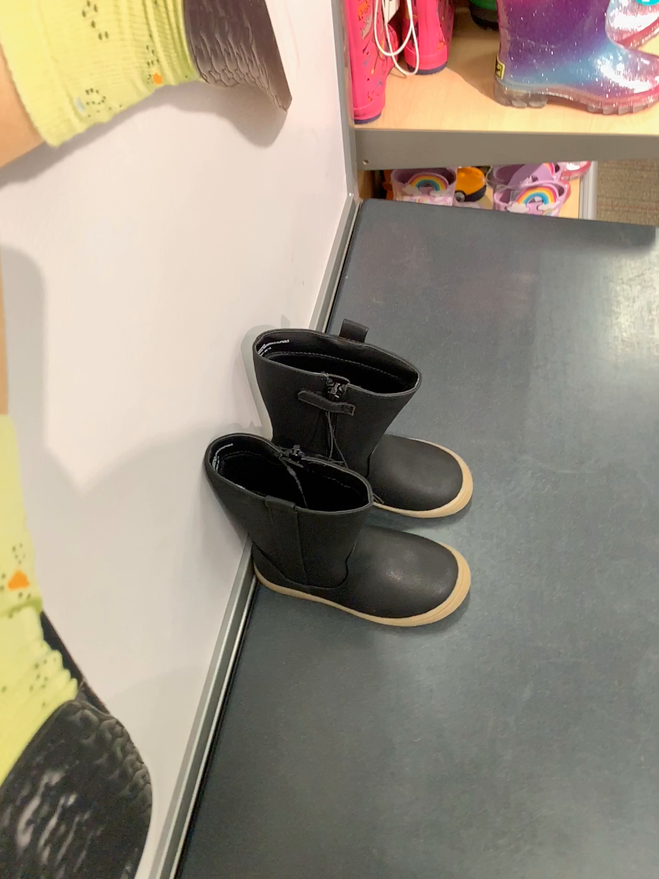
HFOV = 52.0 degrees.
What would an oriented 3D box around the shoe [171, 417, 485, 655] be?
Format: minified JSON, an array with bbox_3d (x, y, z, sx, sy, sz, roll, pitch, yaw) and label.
[{"bbox_3d":[0.008,0.084,0.525,0.190,0.200,0.080,10,63,12],"label":"shoe"}]

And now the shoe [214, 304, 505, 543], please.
[{"bbox_3d":[0.030,-0.004,0.556,0.190,0.200,0.080,9,63,11],"label":"shoe"}]
